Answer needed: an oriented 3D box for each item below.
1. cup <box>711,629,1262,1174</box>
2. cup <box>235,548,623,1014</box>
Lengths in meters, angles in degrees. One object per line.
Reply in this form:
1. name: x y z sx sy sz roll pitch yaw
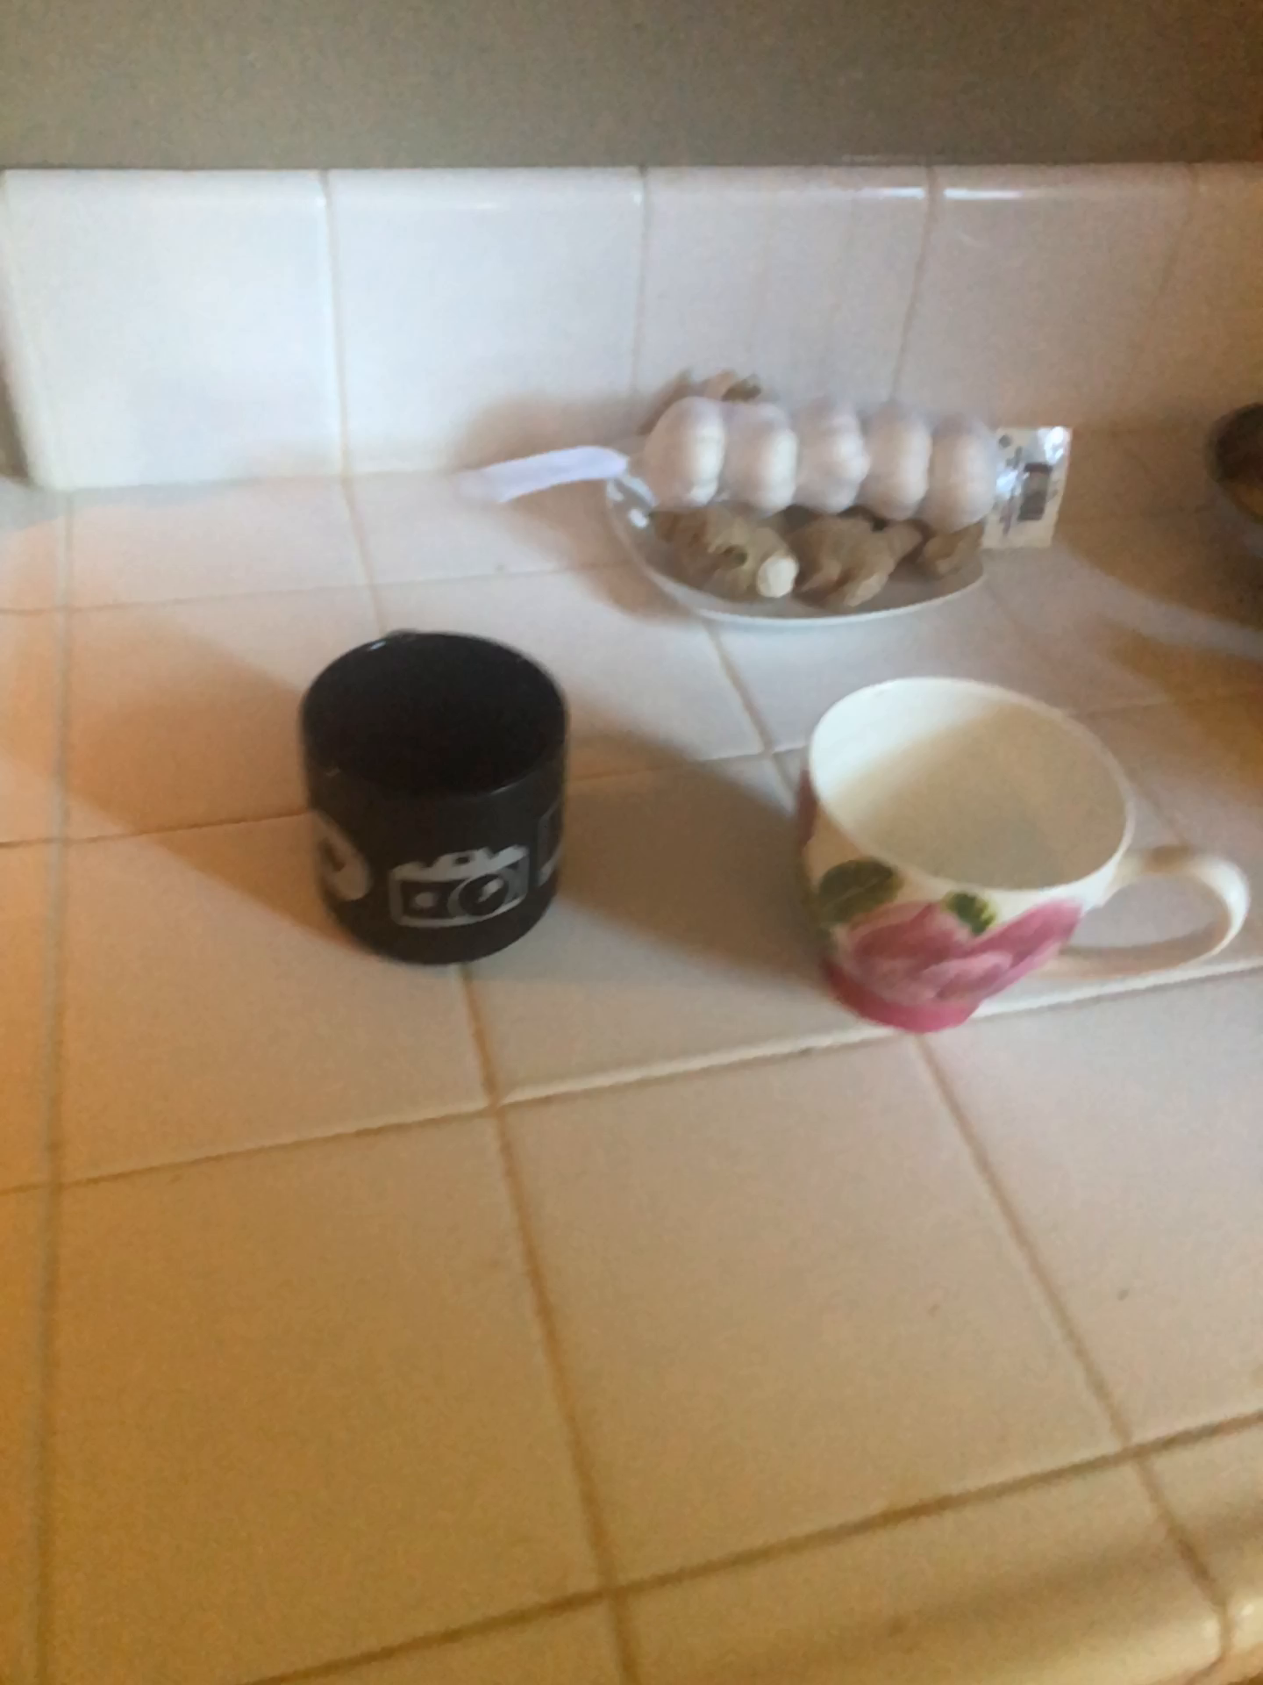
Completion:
1. cup: 0.122 0.015 0.475 0.150 0.089 0.101 26 48 18
2. cup: -0.077 -0.028 0.505 0.100 0.079 0.141 -11 47 -17
